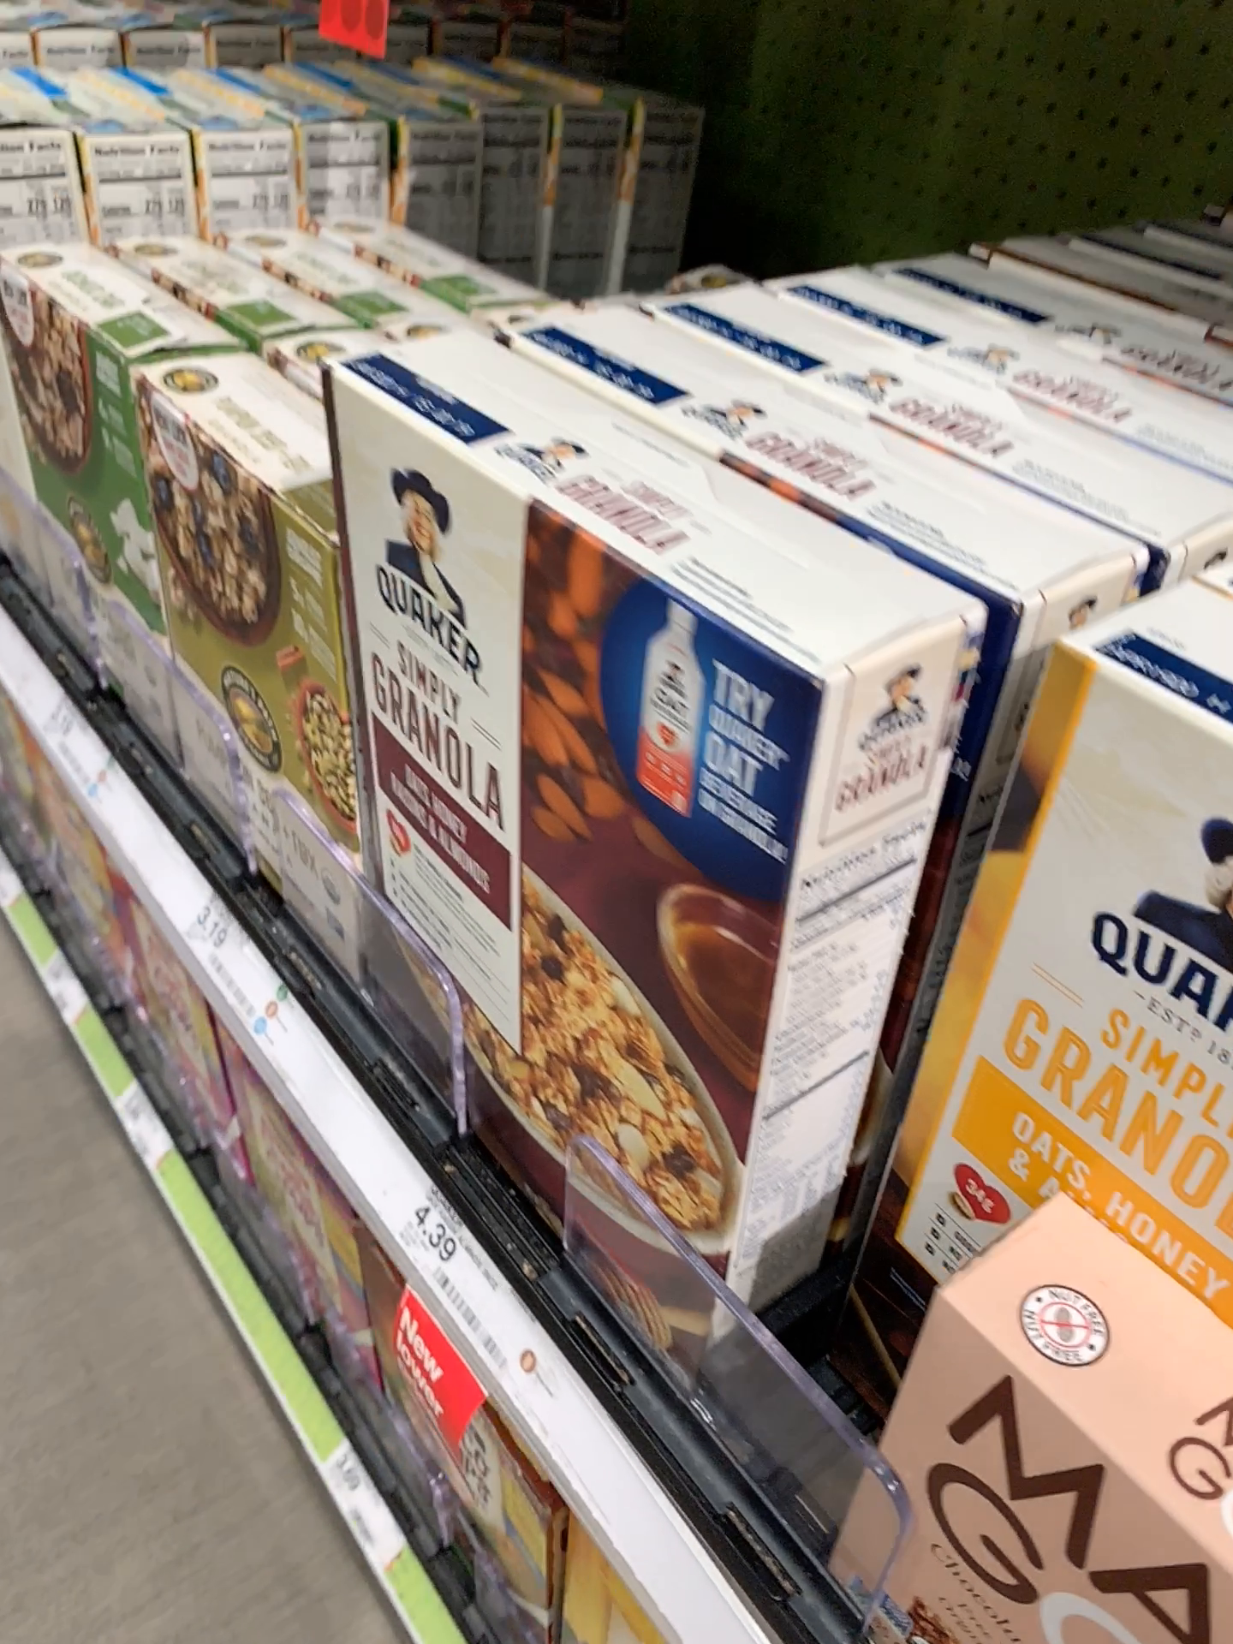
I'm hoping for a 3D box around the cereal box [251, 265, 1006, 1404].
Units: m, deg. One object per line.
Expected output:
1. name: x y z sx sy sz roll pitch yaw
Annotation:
1. cereal box: -0.015 0.007 0.346 0.060 0.249 0.181 -24 47 -30
